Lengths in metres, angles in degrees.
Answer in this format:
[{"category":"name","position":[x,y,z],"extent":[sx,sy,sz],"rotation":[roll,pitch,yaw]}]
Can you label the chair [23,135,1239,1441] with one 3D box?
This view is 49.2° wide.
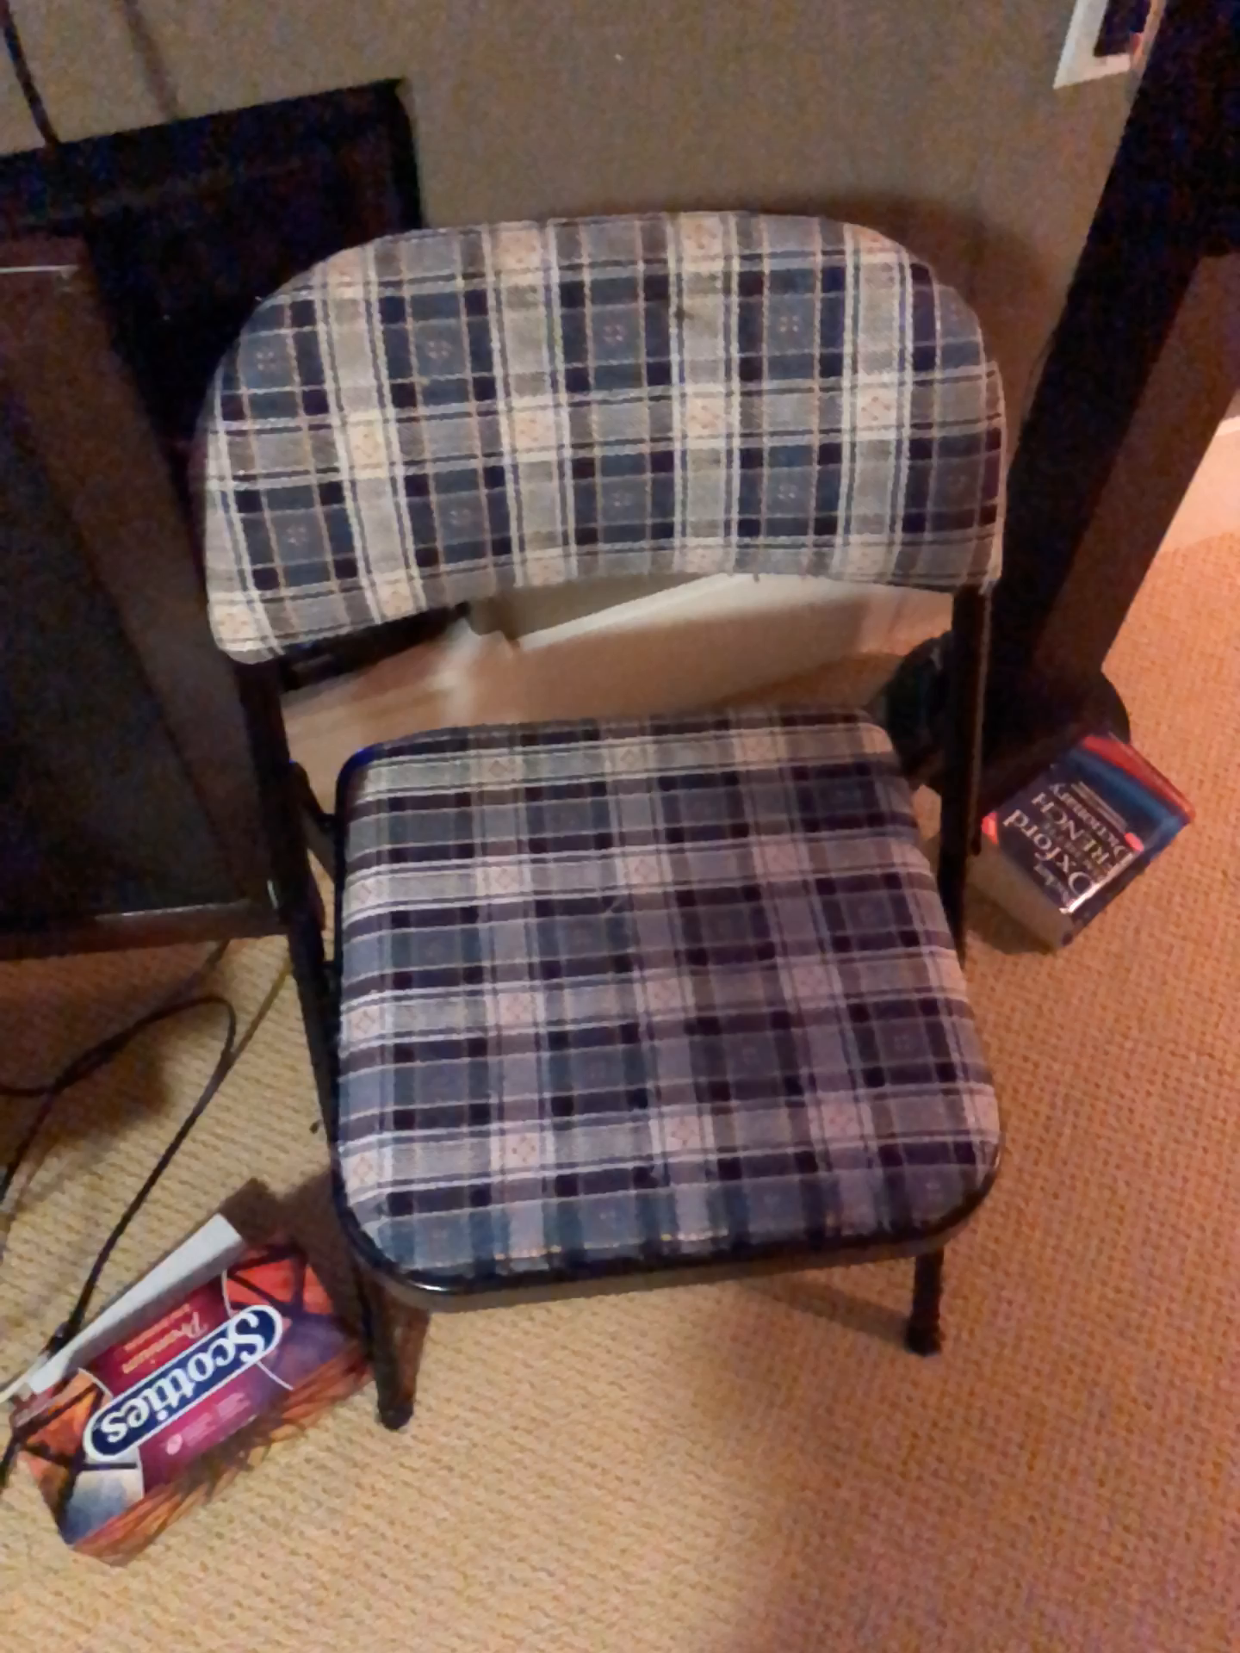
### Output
[{"category":"chair","position":[0.020,0.039,0.918],"extent":[0.500,0.707,0.563],"rotation":[-3,58,-3]}]
